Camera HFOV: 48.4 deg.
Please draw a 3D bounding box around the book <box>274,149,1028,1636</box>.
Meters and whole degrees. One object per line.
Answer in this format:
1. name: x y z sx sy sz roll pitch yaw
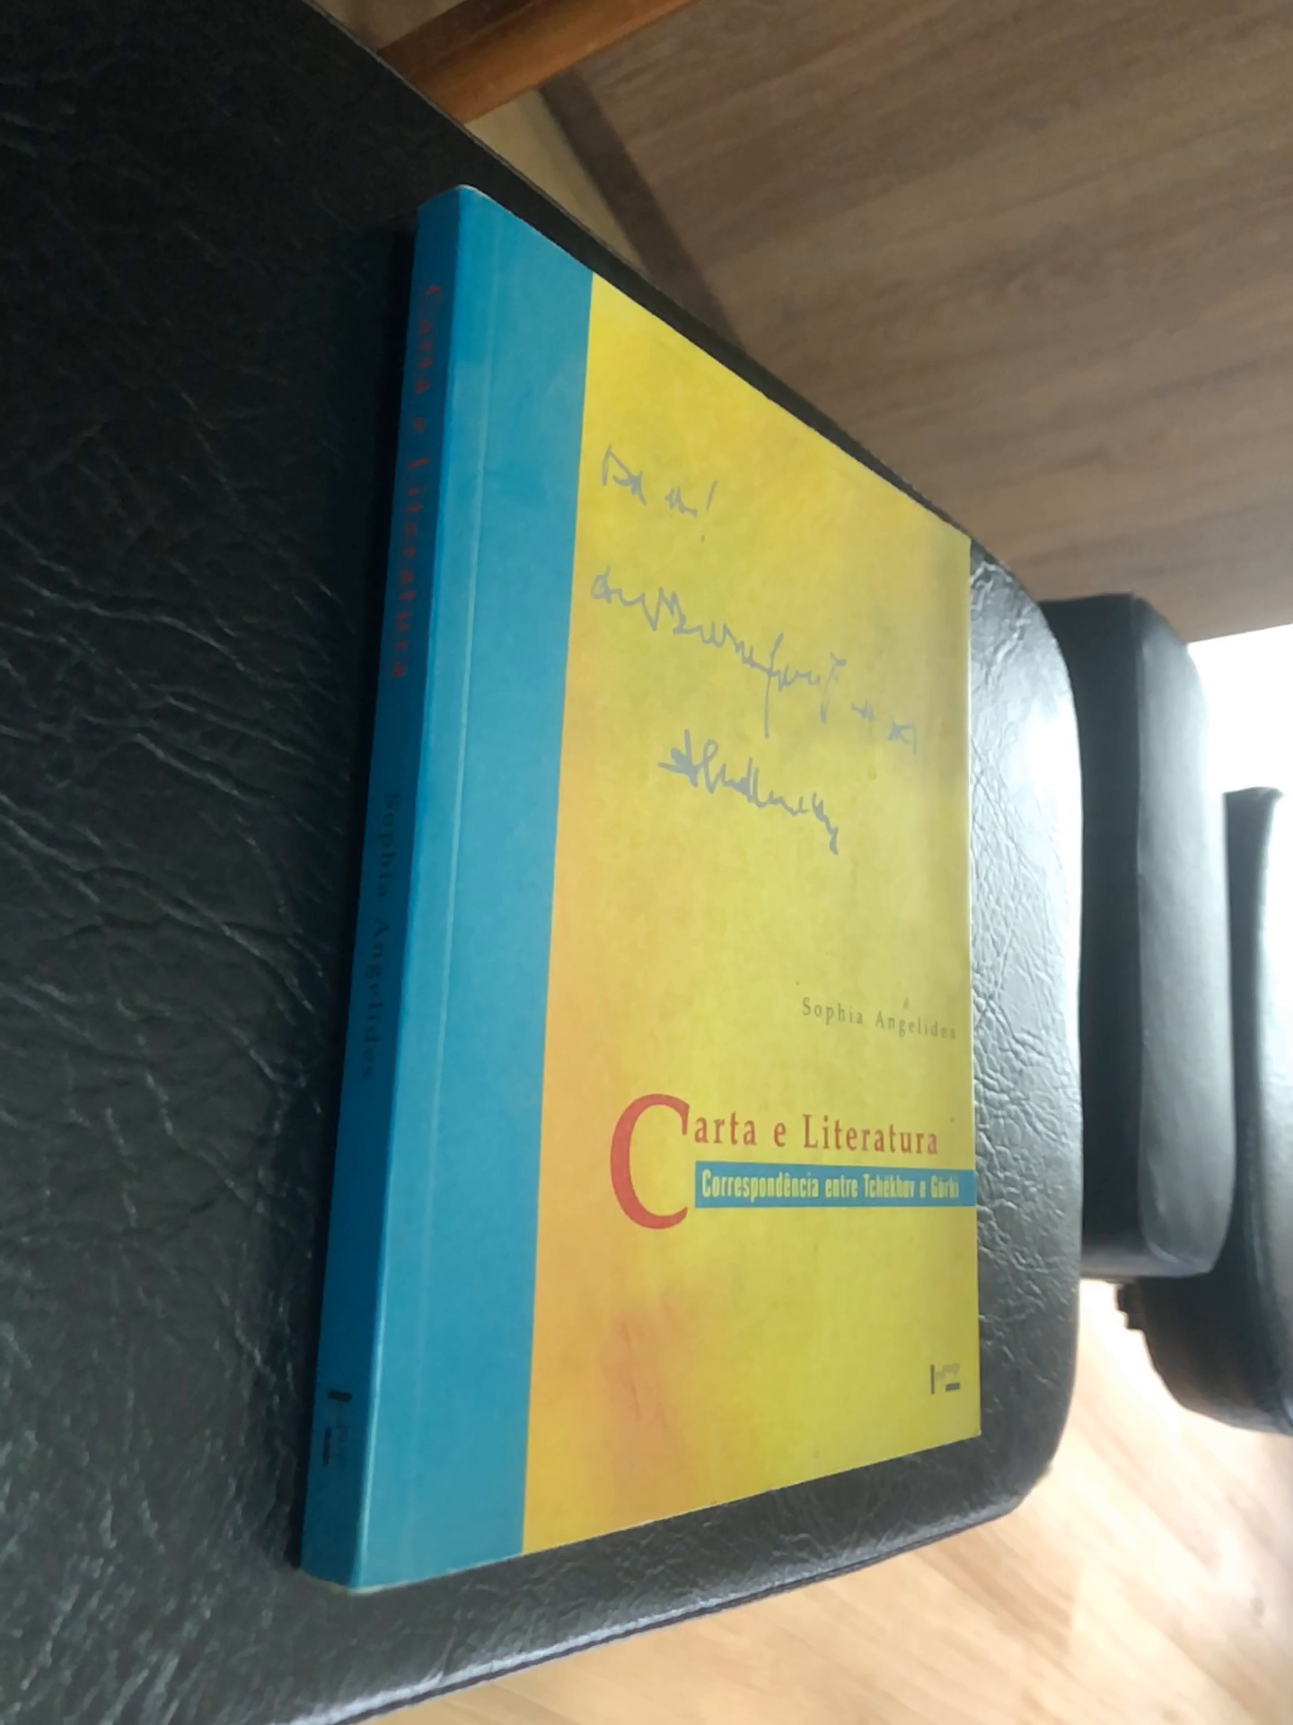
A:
1. book: 0.021 0.010 0.270 0.174 0.024 0.208 15 74 -47
